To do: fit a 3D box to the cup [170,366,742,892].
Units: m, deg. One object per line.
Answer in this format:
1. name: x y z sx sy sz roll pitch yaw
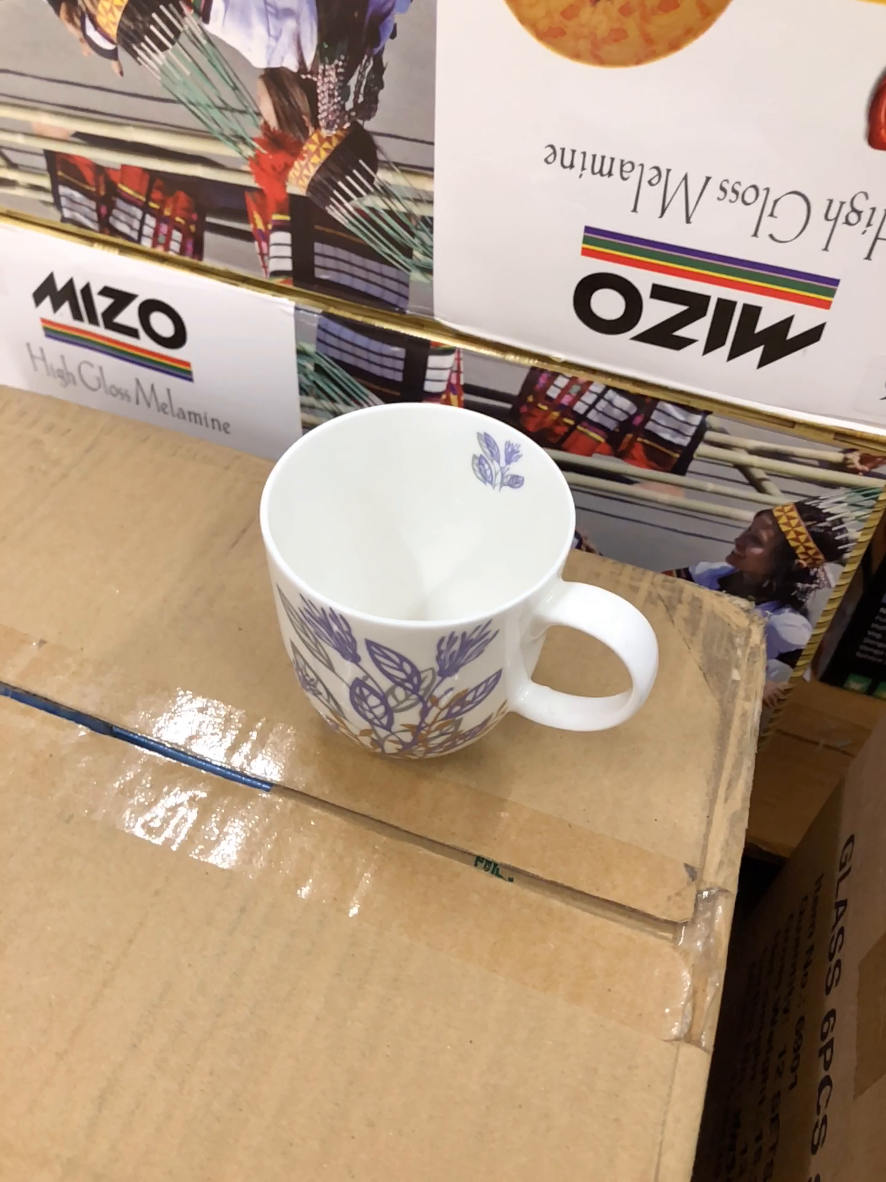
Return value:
1. cup: 0.006 0.006 0.277 0.120 0.070 0.091 20 50 14
